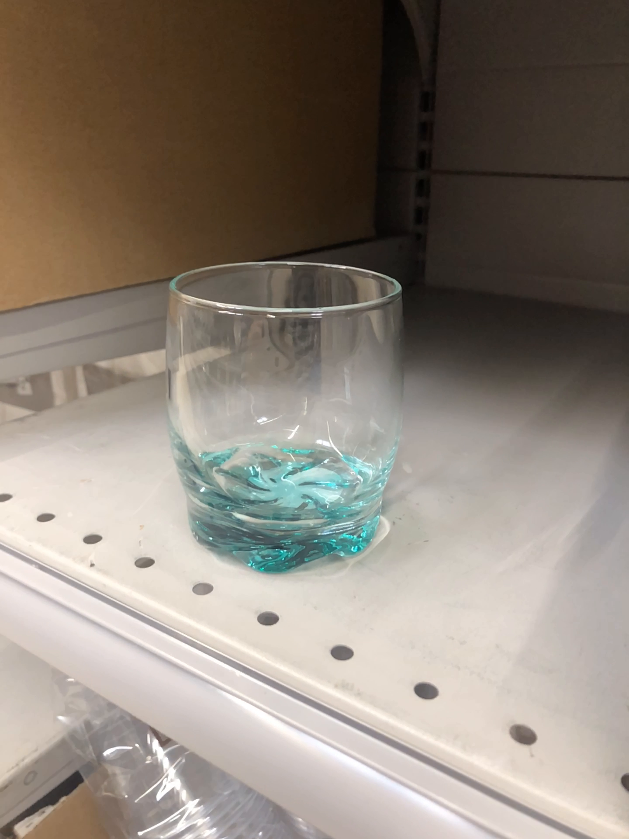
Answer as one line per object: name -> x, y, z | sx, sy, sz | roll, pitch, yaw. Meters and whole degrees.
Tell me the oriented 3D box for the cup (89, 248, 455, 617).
cup -> -0.013, -0.005, 0.228 | 0.082, 0.082, 0.075 | 19, 28, 36
